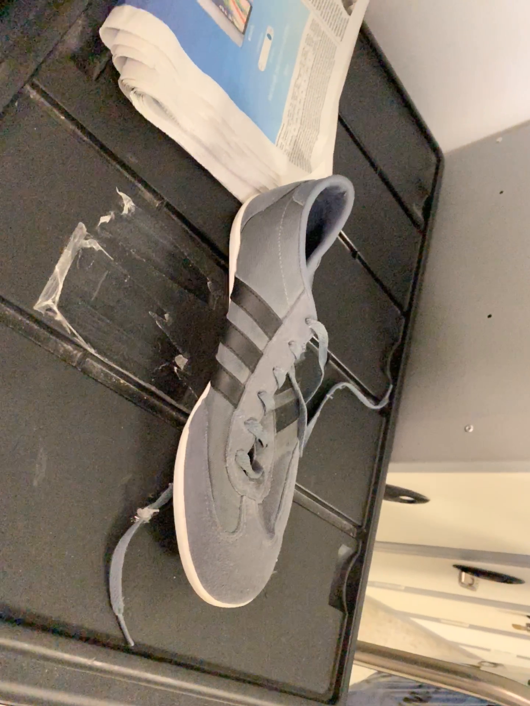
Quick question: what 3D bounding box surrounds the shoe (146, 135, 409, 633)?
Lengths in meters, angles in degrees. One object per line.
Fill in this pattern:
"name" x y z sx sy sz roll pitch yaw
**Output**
"shoe" 0.022 0.019 0.342 0.114 0.077 0.268 27 62 -42
